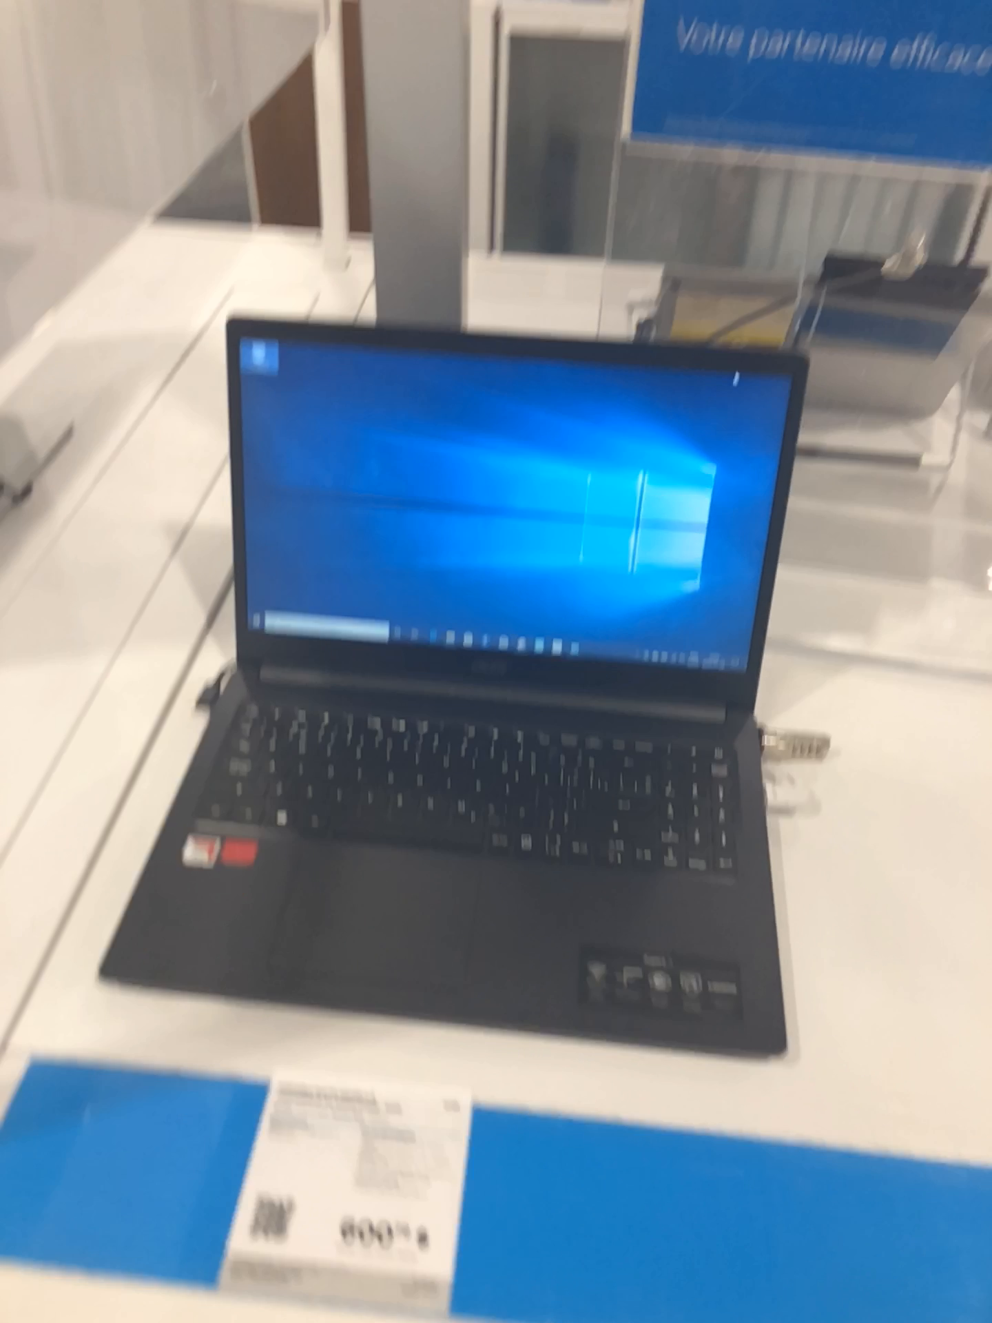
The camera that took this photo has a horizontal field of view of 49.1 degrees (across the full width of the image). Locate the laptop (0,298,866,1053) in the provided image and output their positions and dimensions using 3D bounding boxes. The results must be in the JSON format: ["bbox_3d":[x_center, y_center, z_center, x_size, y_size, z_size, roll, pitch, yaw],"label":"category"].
[{"bbox_3d":[-0.019,-0.016,0.640,0.367,0.212,0.351,5,44,4],"label":"laptop"}]
